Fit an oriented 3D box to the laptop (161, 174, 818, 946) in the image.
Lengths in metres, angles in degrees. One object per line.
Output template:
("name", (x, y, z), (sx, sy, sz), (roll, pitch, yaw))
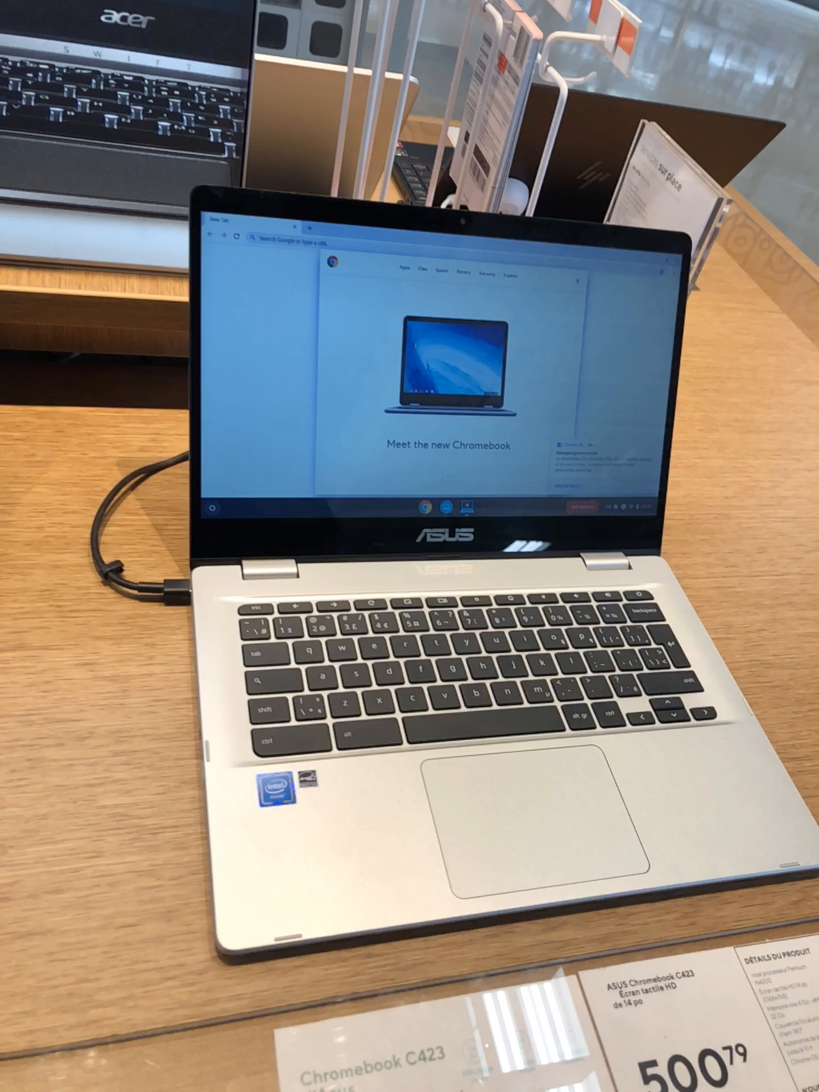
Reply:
("laptop", (0.034, -0.017, 0.469), (0.281, 0.186, 0.337), (-1, 43, -20))
